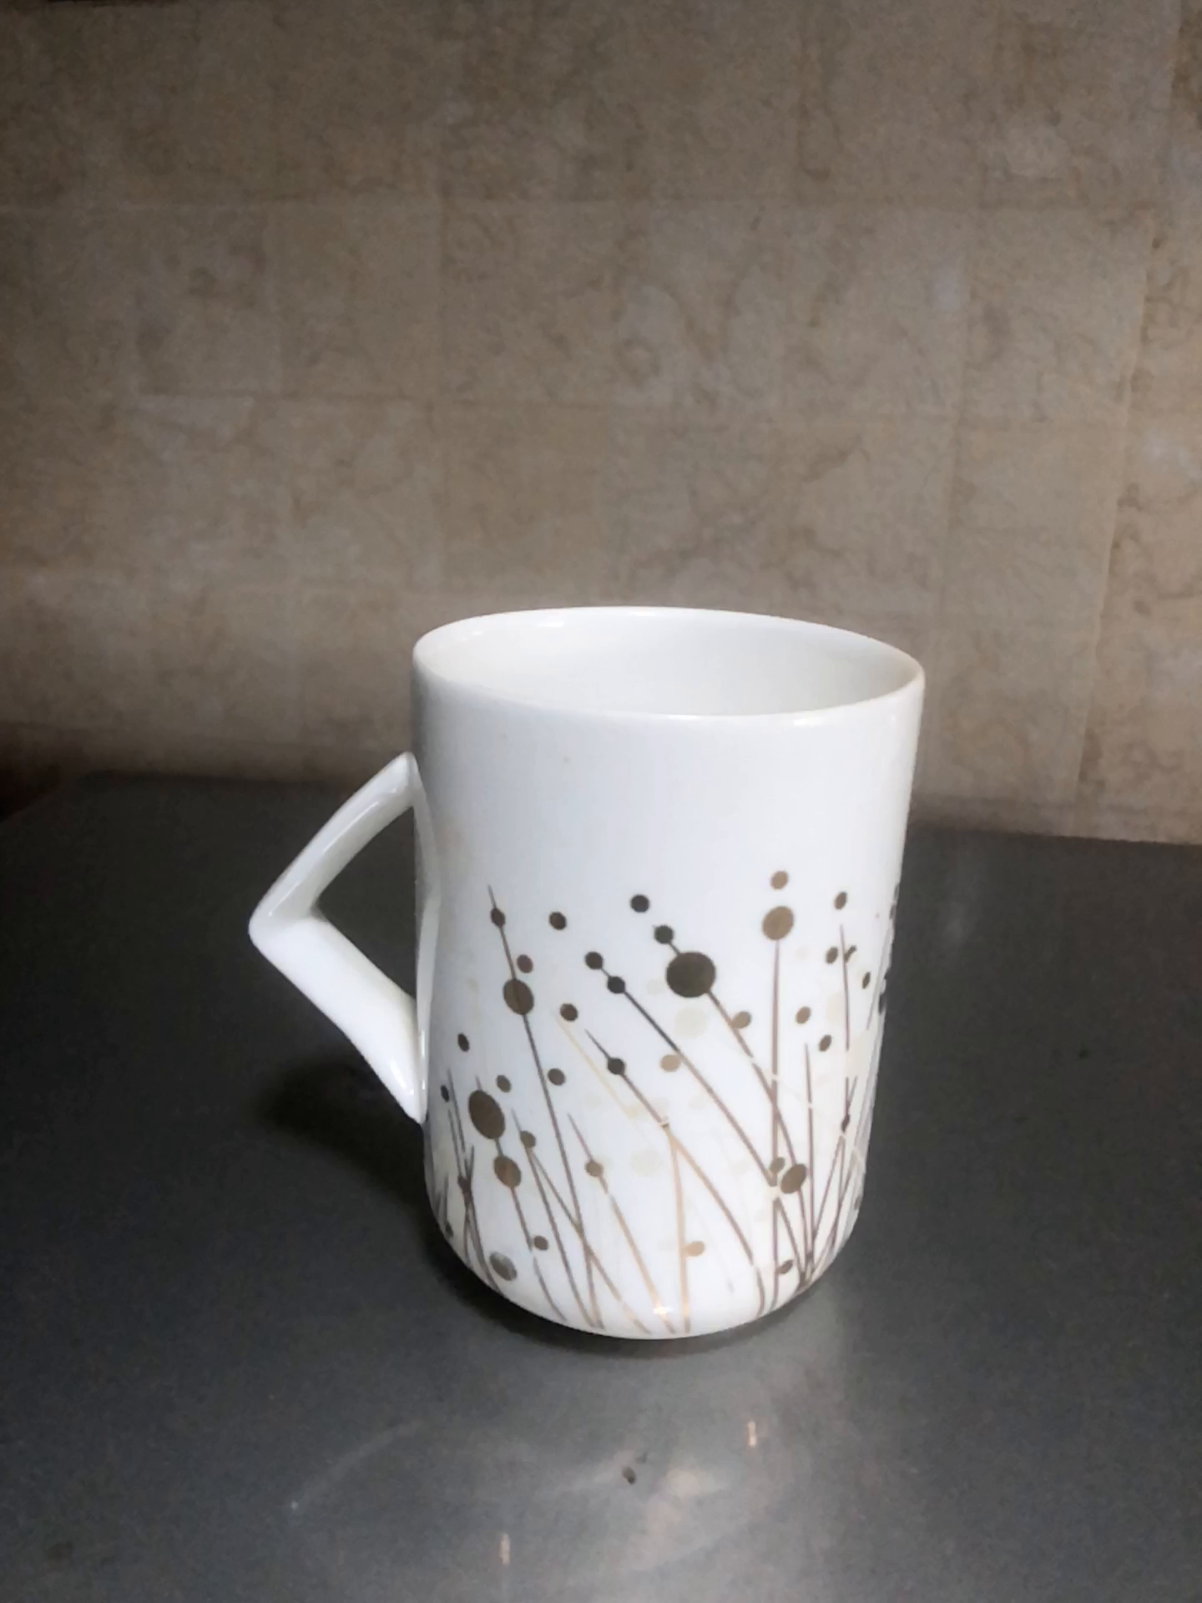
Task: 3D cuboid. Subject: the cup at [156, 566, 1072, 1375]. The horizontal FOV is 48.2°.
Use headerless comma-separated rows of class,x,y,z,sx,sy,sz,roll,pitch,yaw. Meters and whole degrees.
cup,-0.001,0.019,0.214,0.110,0.099,0.080,0,18,-4
